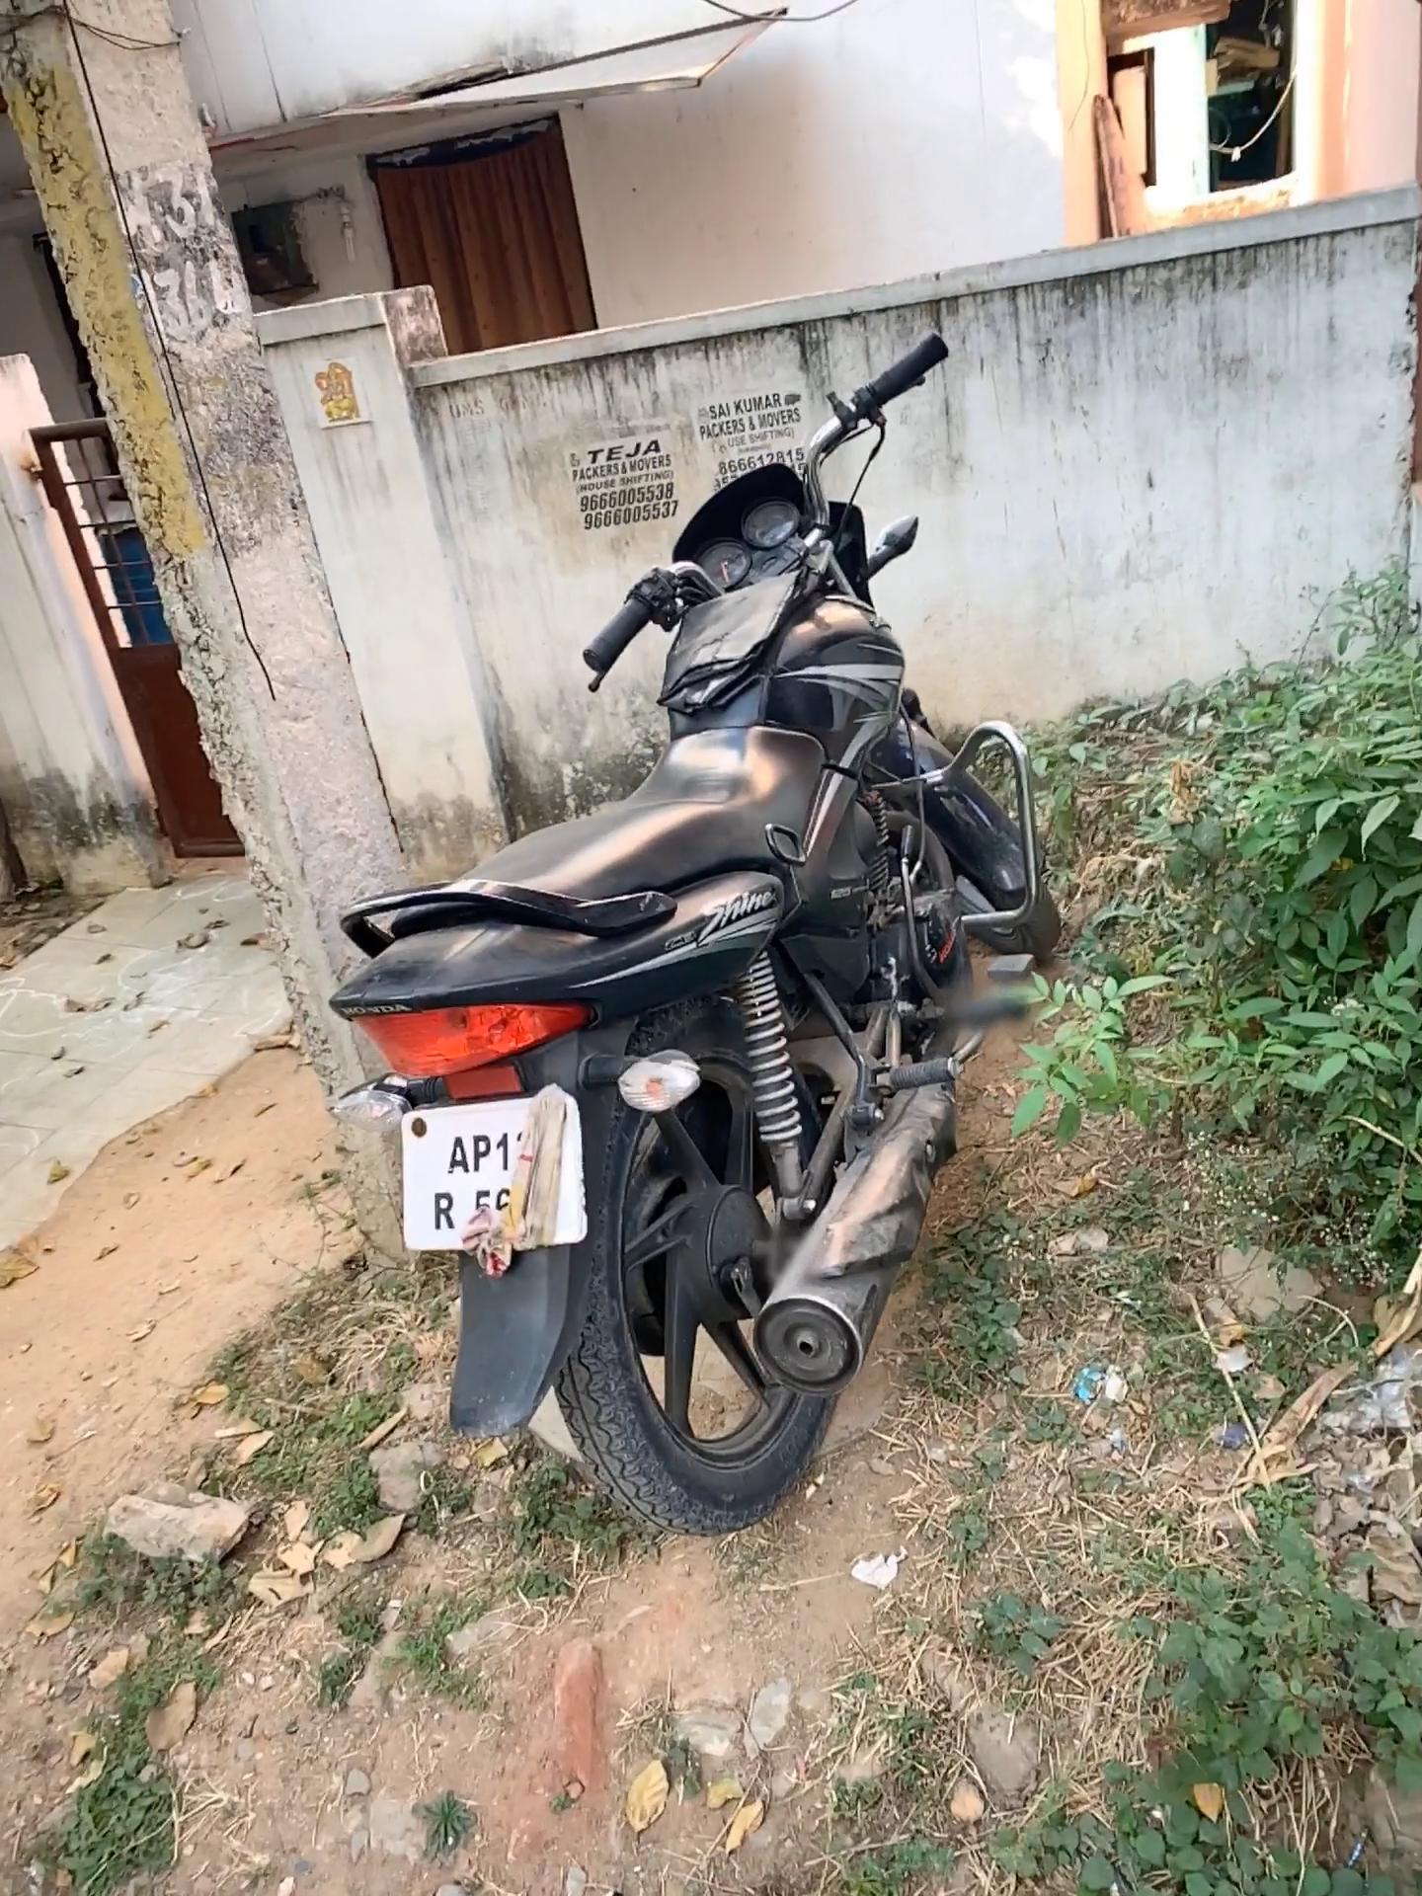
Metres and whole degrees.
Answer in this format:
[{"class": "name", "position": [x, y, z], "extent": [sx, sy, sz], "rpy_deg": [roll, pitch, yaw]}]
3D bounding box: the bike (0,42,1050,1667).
[{"class": "bike", "position": [-0.045, -0.208, 1.752], "extent": [0.736, 1.101, 1.244], "rpy_deg": [0, 36, 19]}]
